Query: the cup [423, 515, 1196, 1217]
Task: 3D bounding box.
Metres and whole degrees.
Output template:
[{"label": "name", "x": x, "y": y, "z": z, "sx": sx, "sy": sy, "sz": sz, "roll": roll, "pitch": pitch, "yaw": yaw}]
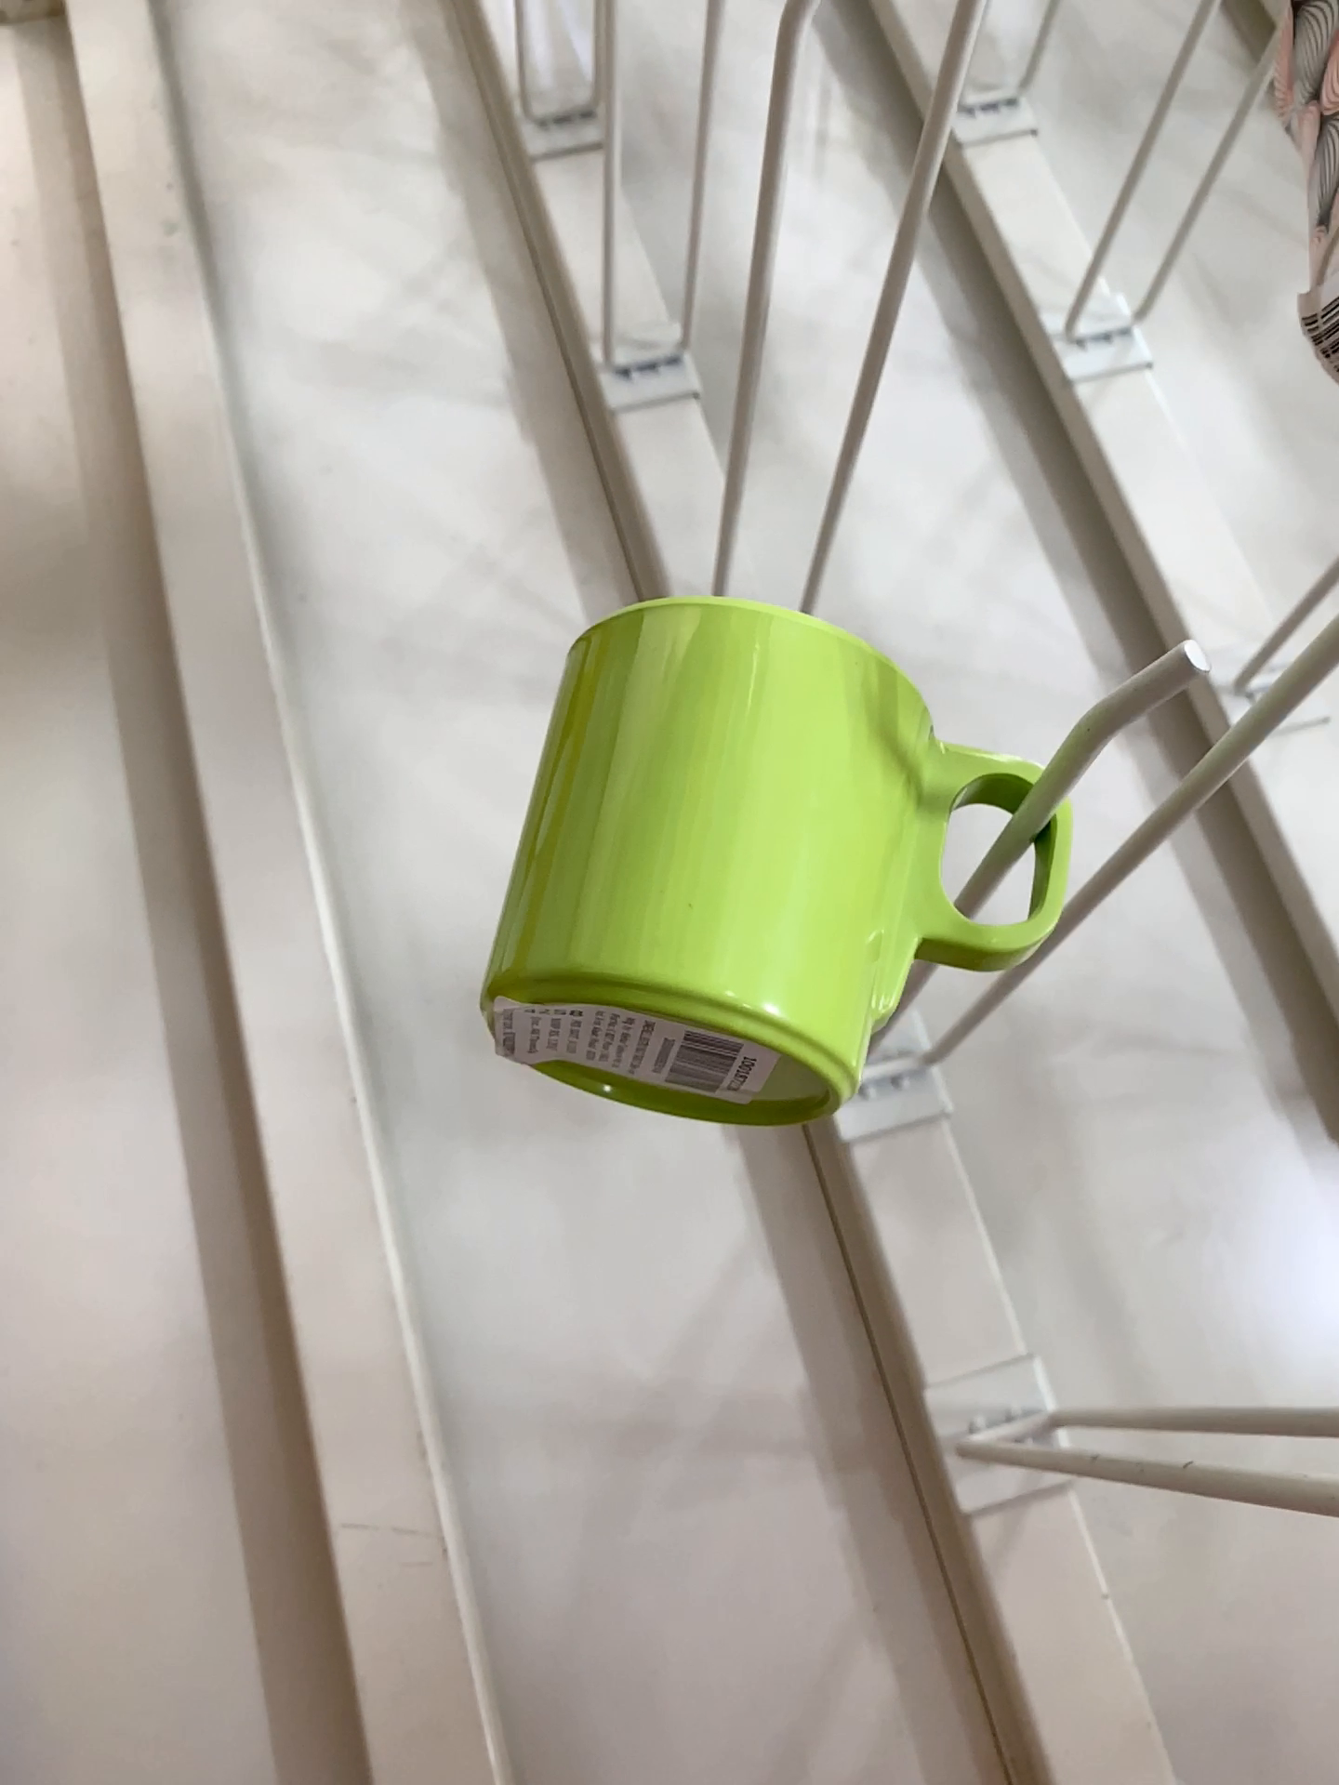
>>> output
[{"label": "cup", "x": 0.022, "y": 0.004, "z": 0.264, "sx": 0.100, "sy": 0.110, "sz": 0.080, "roll": 106, "pitch": -4, "yaw": -69}]
